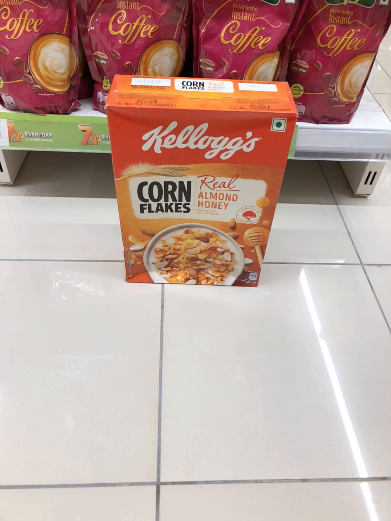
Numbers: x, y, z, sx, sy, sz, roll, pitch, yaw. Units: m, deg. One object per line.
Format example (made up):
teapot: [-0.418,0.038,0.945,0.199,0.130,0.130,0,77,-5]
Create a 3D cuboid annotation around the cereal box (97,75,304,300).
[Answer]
cereal box: [0.001,-0.074,0.537,0.200,0.268,0.081,3,45,0]
